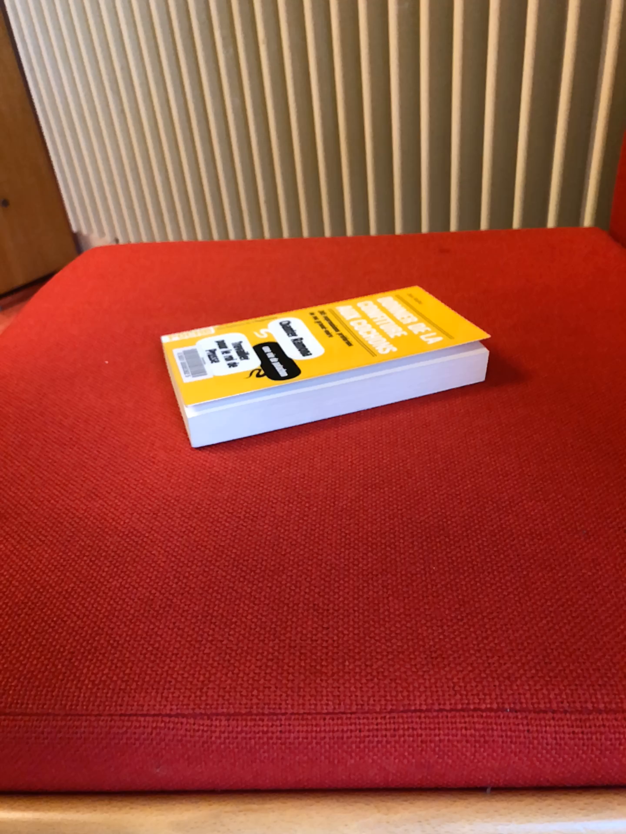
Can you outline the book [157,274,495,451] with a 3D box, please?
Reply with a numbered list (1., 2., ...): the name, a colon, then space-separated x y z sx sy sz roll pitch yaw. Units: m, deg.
1. book: 0.004 -0.041 0.430 0.180 0.030 0.107 -13 35 -14
